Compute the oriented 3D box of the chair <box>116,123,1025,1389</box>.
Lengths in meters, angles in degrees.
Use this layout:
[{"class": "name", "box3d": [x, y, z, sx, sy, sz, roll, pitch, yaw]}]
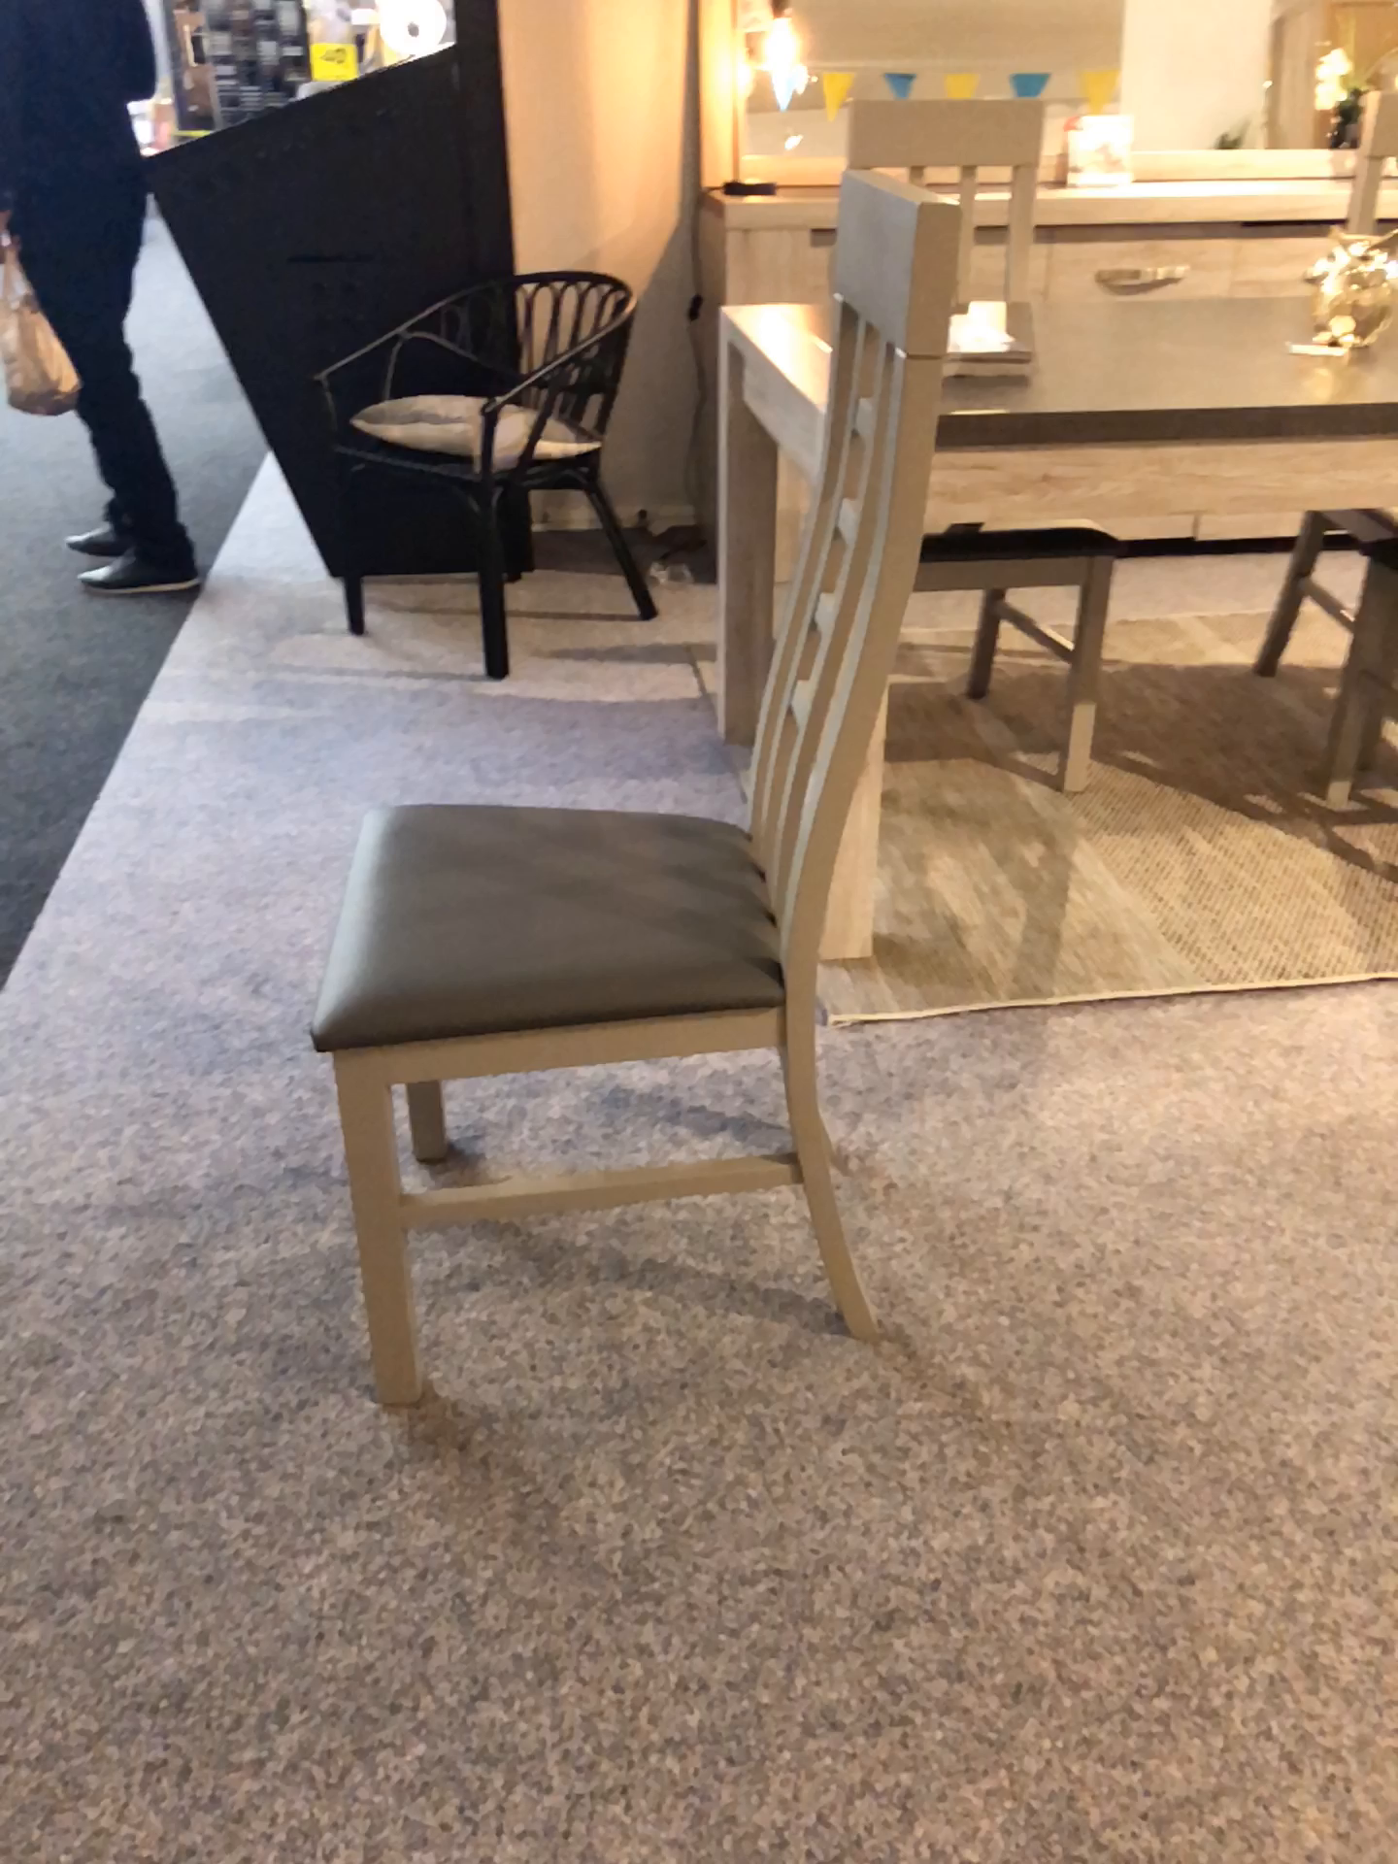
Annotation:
[{"class": "chair", "box3d": [-0.088, -0.157, 1.399, 0.550, 1.014, 0.513, -2, 30, -3]}]
